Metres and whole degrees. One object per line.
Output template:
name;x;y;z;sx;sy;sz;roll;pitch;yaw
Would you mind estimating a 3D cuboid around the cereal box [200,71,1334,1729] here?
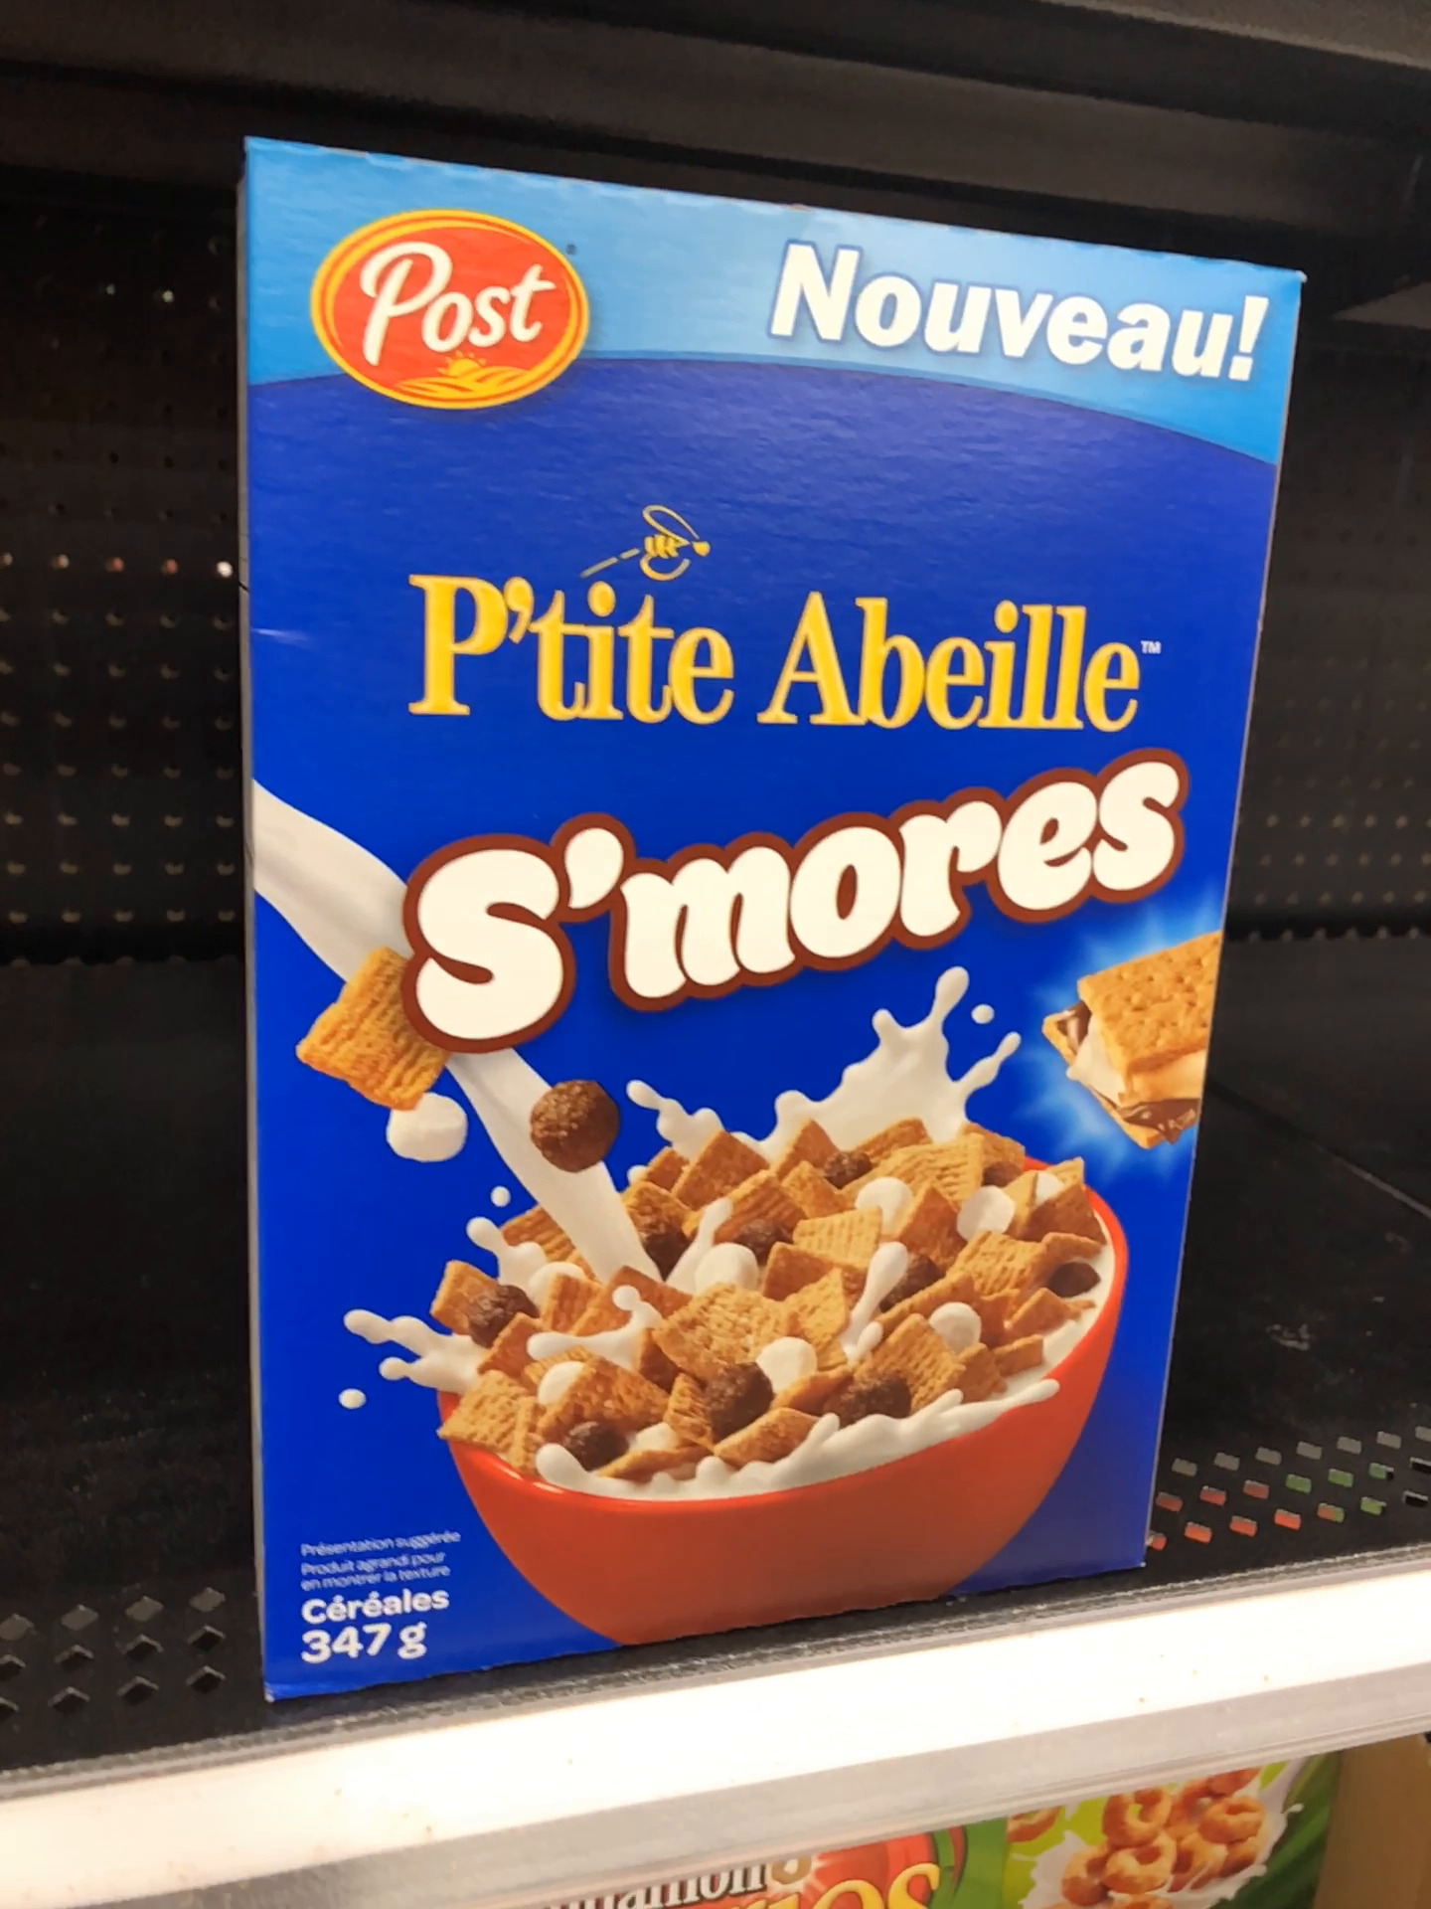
cereal box;0.004;-0.003;0.323;0.200;0.279;0.060;-2;14;-19
